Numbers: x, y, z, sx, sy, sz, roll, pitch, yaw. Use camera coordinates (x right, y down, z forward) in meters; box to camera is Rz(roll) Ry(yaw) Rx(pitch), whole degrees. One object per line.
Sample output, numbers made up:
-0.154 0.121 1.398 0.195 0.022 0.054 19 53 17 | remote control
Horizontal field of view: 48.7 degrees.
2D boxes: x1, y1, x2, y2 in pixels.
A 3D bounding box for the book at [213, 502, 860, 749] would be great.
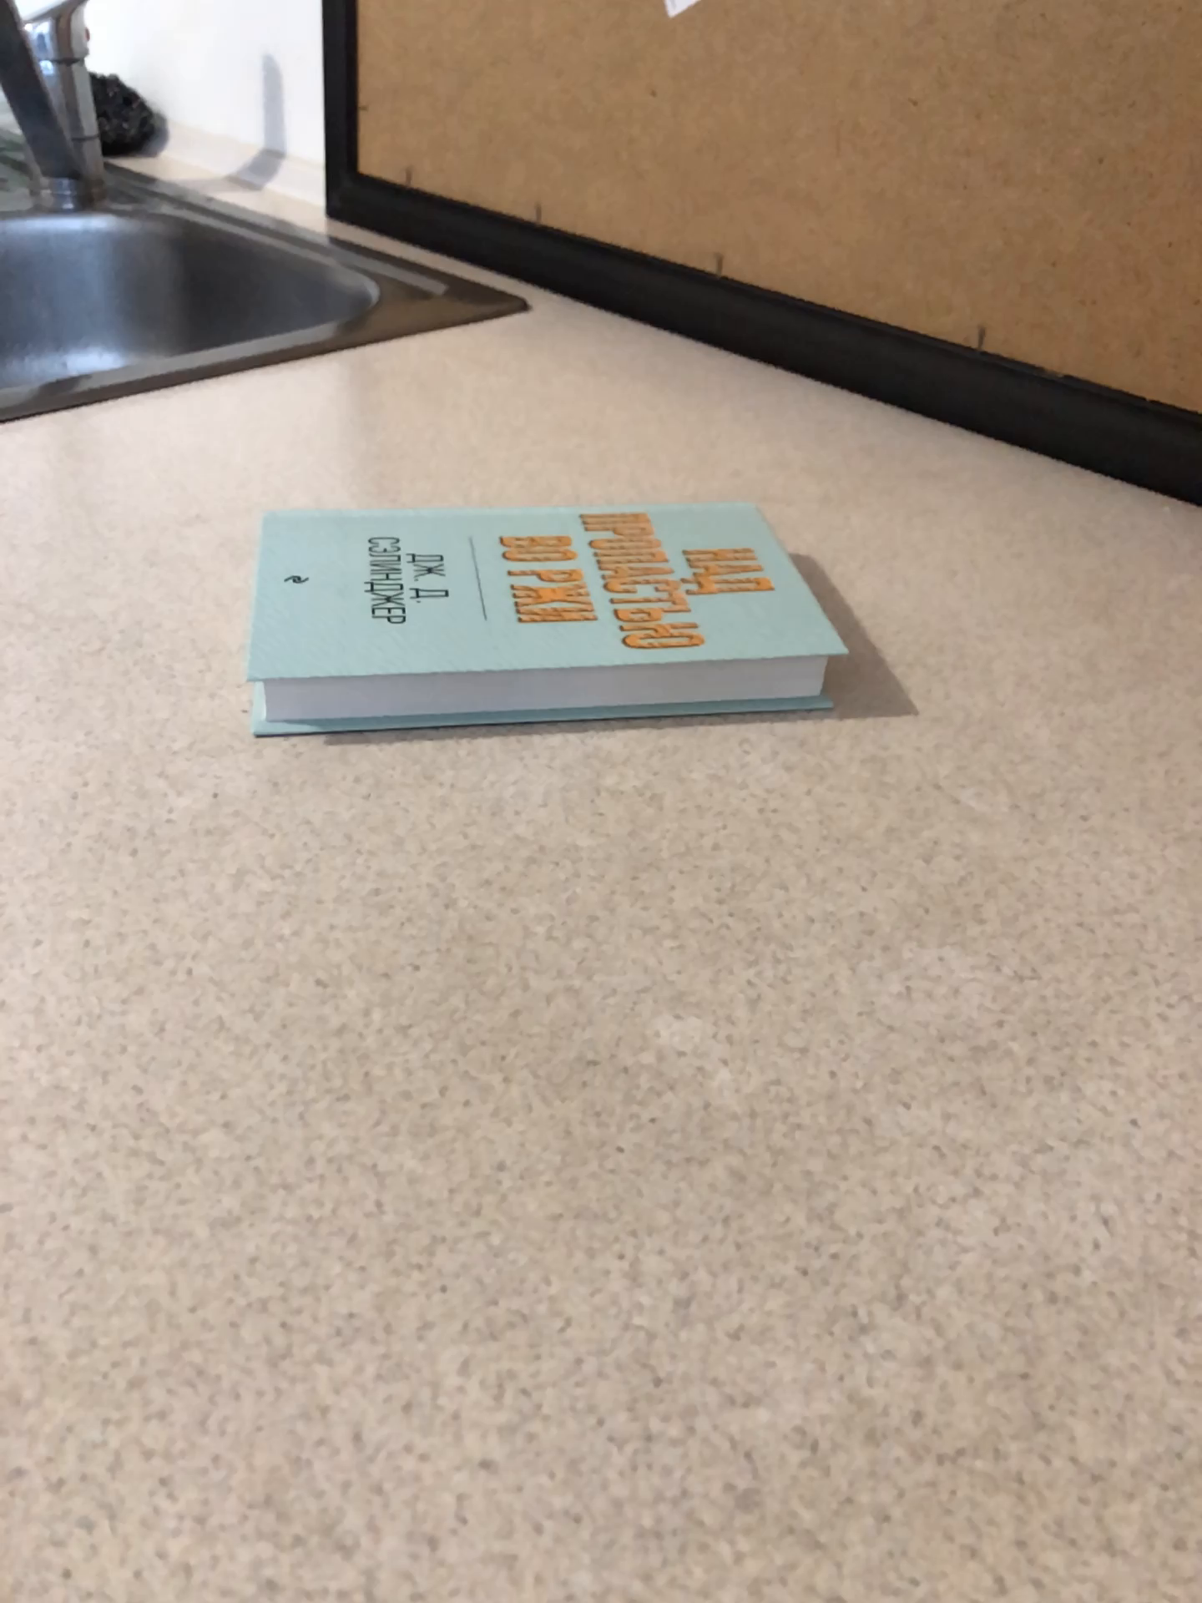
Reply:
-0.023 -0.059 0.410 0.175 0.020 0.115 -3 35 -8 | book
